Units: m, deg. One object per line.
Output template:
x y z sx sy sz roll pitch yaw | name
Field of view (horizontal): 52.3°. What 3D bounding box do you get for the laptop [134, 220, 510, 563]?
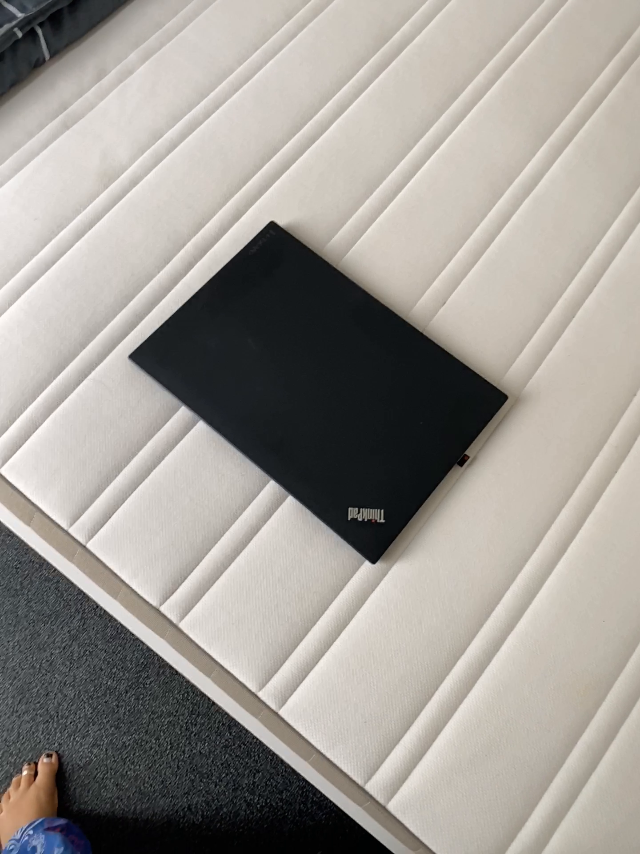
0.001 -0.045 0.601 0.288 0.005 0.193 39 76 10 | laptop
